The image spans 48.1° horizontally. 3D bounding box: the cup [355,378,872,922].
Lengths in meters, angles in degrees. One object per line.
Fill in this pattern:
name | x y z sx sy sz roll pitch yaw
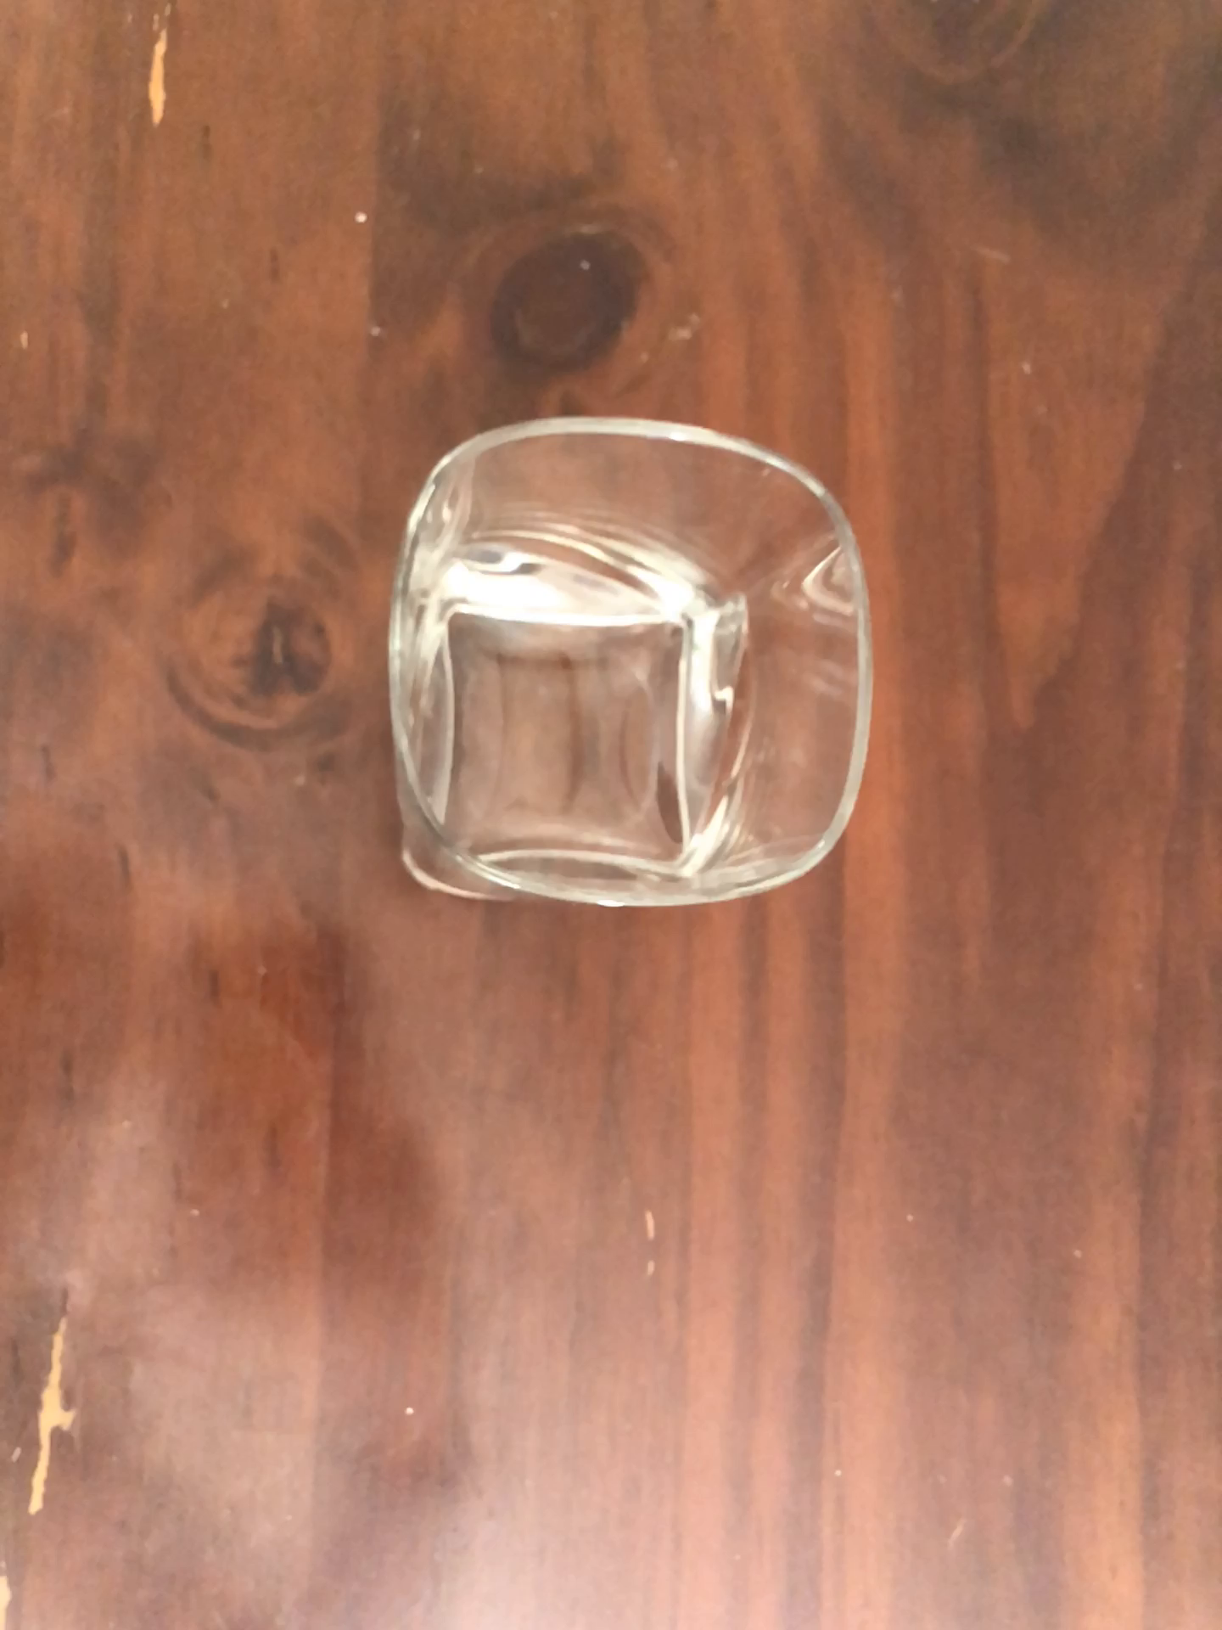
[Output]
cup | -0.005 -0.021 0.251 0.076 0.088 0.077 1 85 -12
